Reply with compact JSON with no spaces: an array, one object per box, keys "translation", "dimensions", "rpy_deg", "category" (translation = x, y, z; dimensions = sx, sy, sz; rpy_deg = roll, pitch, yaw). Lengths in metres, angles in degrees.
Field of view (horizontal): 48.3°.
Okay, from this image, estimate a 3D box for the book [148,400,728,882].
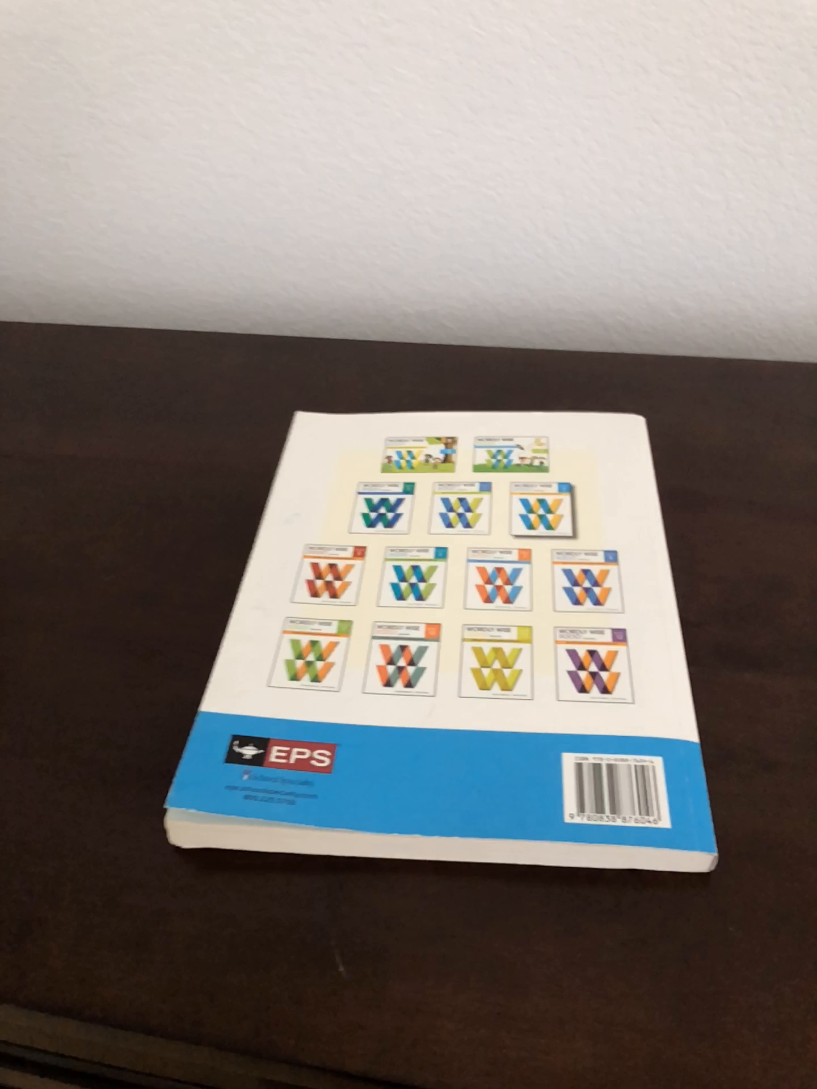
[{"translation":[0.020,0.023,0.451],"dimensions":[0.220,0.031,0.272],"rpy_deg":[1,45,6],"category":"book"}]
